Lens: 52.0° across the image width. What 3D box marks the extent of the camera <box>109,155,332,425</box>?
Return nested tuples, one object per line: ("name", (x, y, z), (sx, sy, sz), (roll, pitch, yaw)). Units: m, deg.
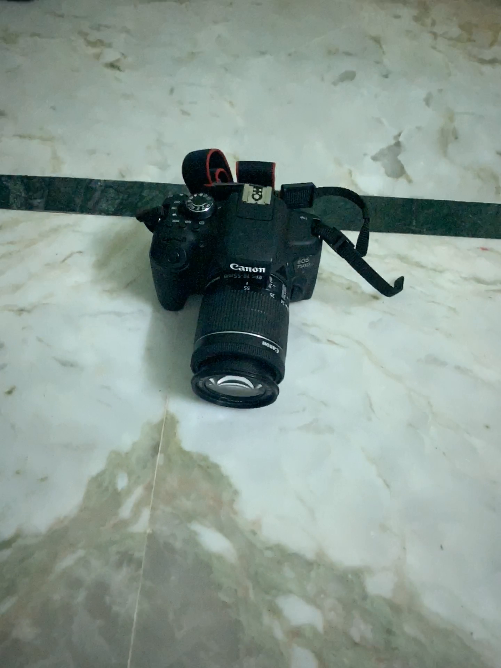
("camera", (-0.013, -0.033, 0.378), (0.128, 0.100, 0.160), (5, 58, 1))
